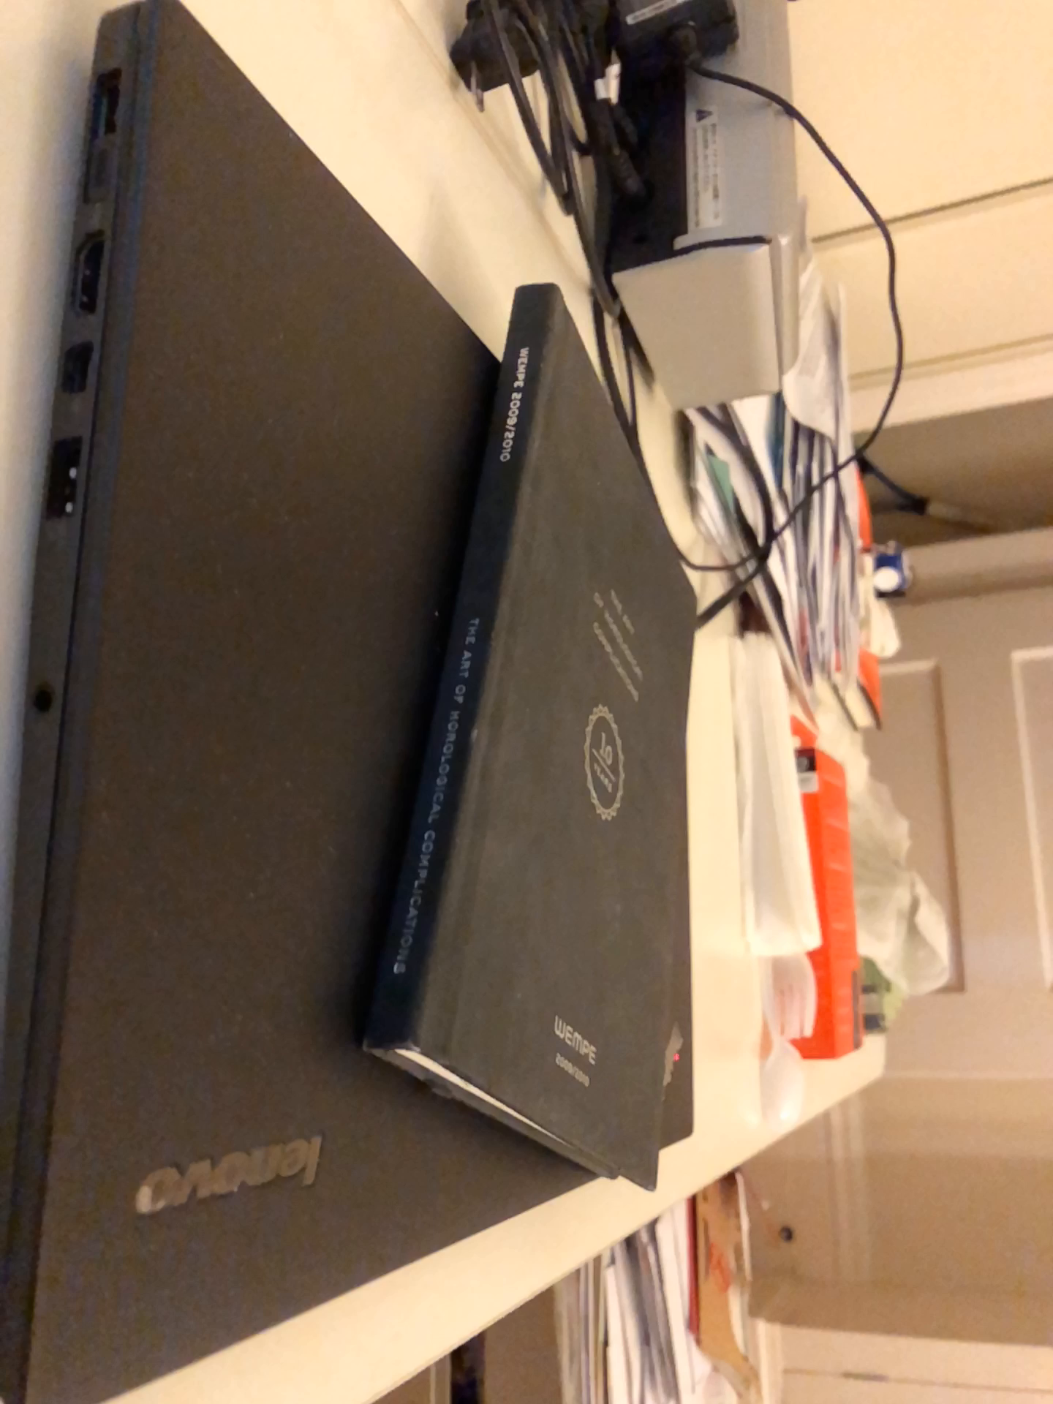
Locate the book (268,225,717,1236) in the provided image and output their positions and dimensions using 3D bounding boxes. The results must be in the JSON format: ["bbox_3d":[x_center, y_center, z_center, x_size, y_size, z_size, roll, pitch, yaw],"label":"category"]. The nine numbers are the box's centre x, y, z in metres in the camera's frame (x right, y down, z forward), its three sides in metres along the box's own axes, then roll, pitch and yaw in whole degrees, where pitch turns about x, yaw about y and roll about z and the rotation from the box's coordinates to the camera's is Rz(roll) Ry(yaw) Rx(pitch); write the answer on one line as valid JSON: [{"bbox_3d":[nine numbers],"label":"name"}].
[{"bbox_3d":[0.013,0.015,0.323,0.170,0.030,0.220,52,38,-51],"label":"book"}]
